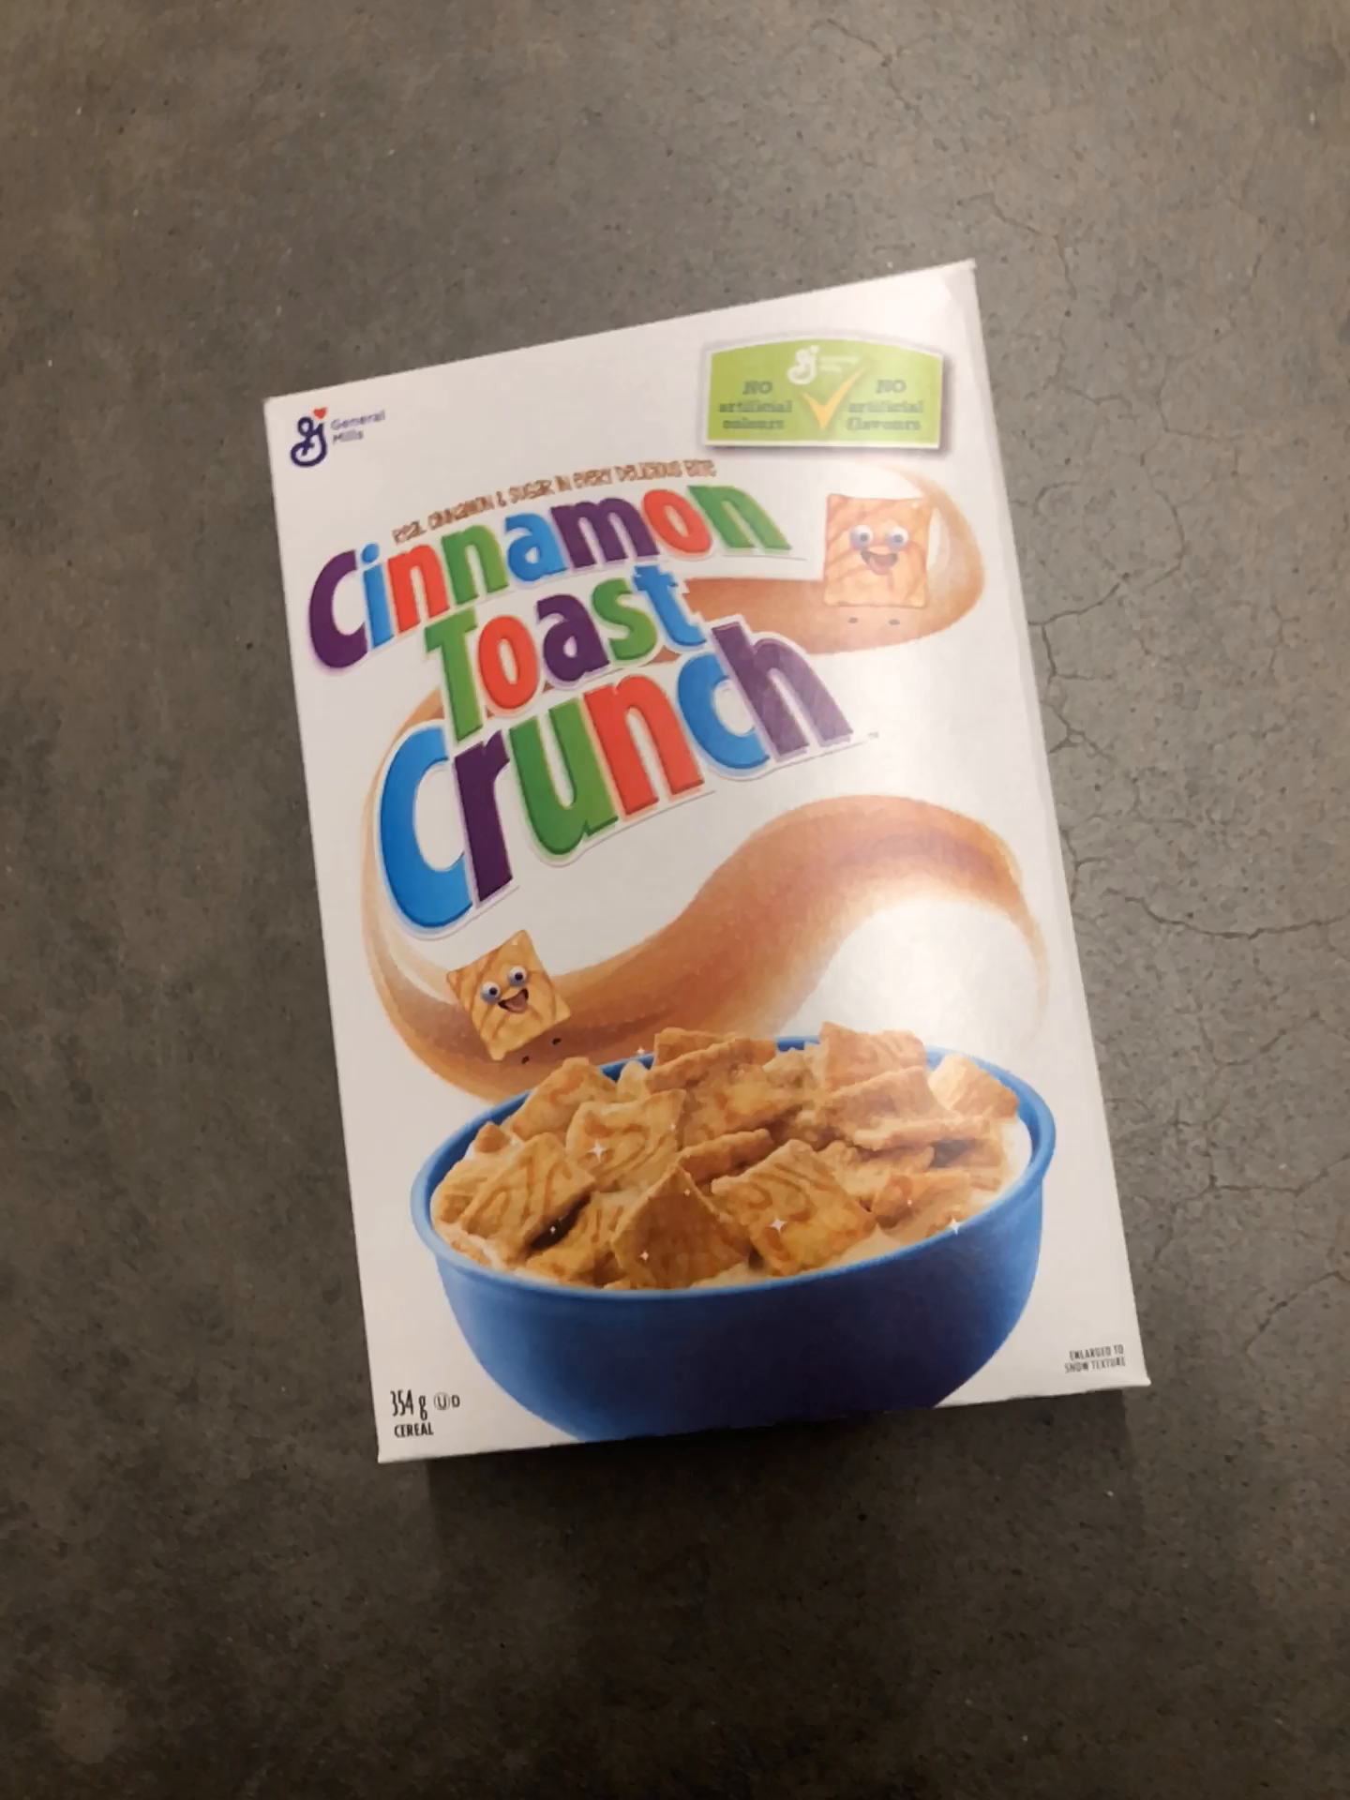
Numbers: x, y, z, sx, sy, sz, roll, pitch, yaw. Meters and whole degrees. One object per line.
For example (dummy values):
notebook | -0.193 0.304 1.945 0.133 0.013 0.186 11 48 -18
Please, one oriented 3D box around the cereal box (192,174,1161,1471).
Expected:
cereal box | -0.003 -0.015 0.395 0.200 0.060 0.290 -9 86 9
